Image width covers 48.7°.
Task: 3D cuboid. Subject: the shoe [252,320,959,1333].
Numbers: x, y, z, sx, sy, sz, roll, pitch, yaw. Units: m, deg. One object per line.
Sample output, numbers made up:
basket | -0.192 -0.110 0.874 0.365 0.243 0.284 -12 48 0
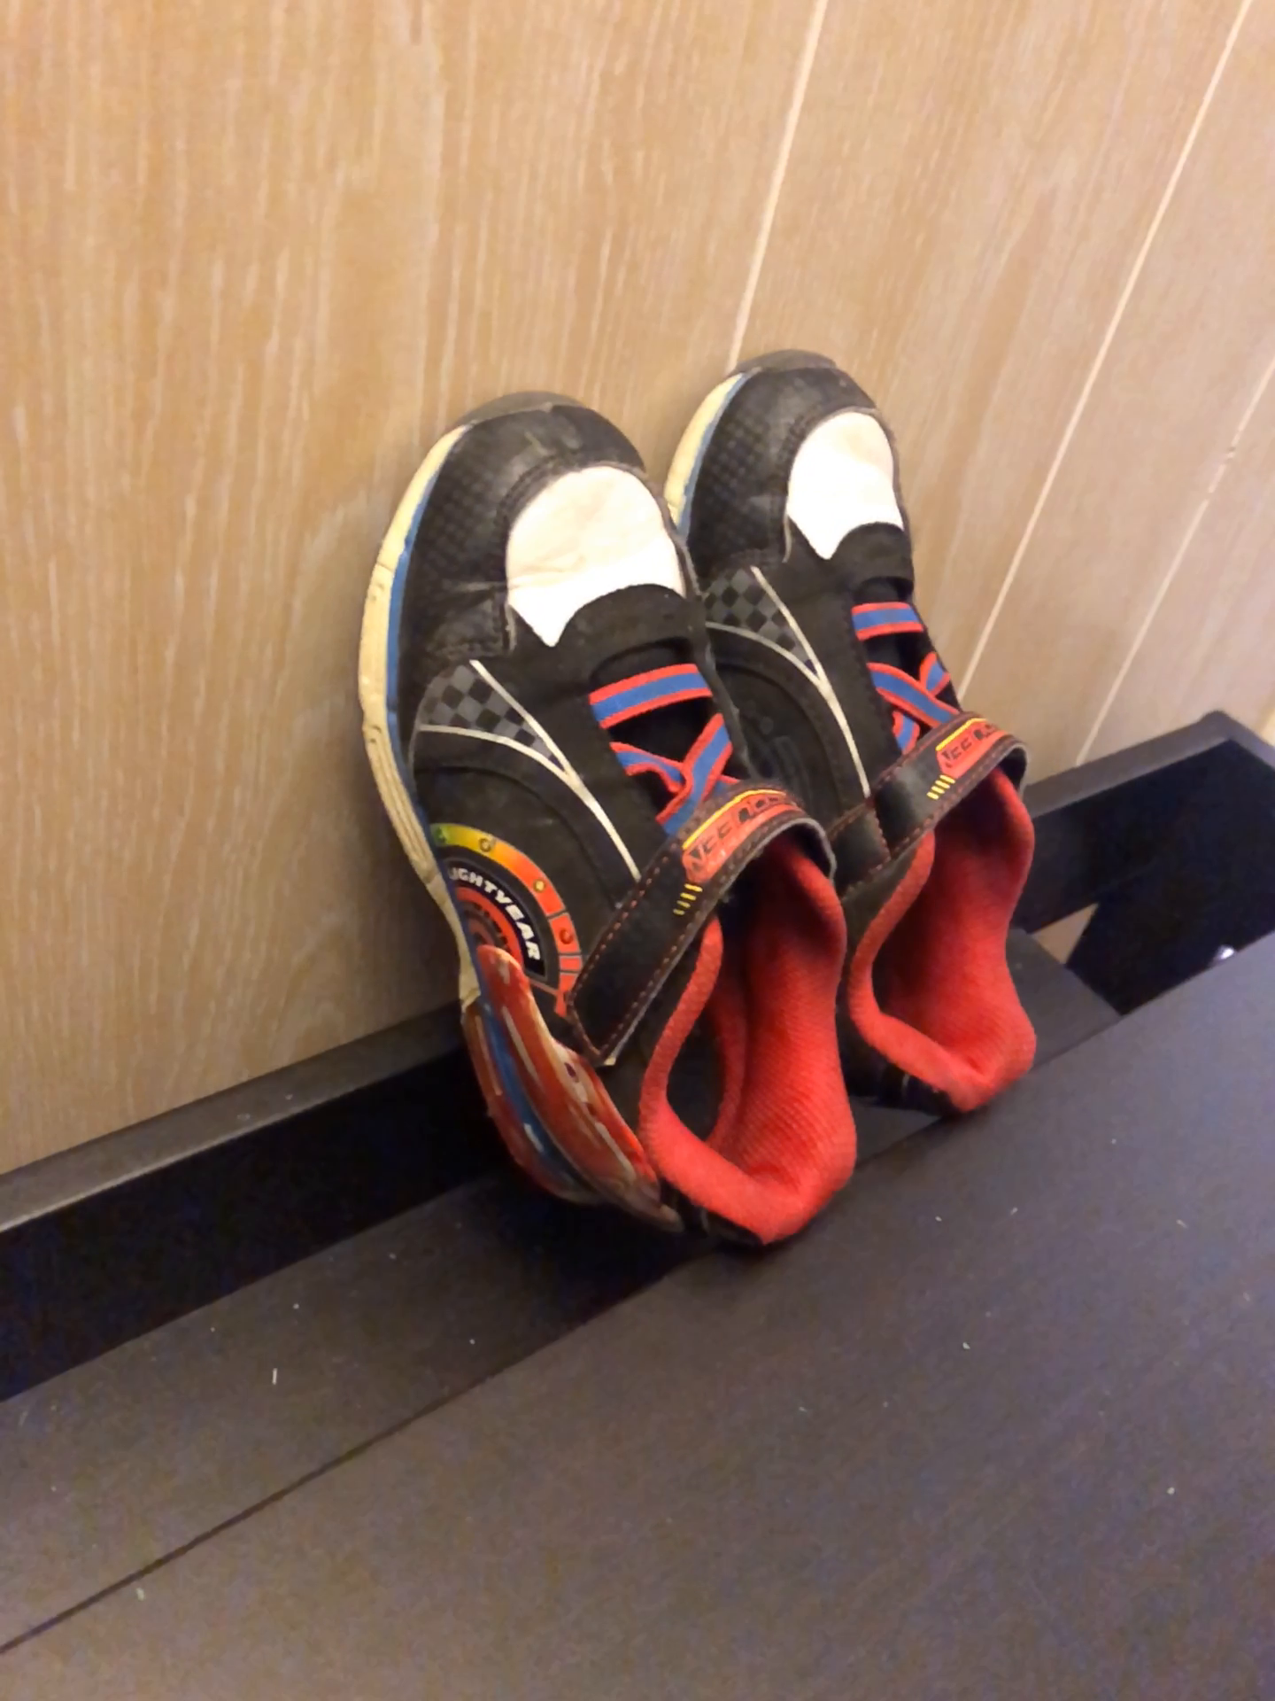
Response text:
shoe | -0.006 -0.009 0.328 0.090 0.200 0.070 -19 6 -35

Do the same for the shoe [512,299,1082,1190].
shoe | 0.045 -0.030 0.383 0.090 0.210 0.070 -18 9 -34
